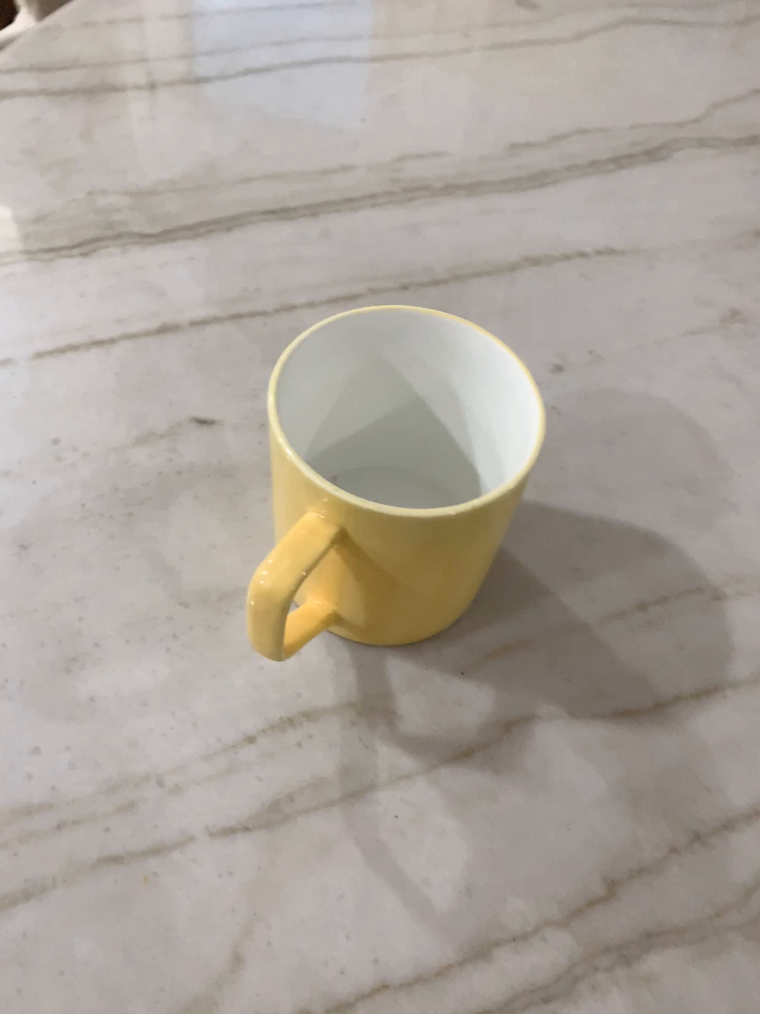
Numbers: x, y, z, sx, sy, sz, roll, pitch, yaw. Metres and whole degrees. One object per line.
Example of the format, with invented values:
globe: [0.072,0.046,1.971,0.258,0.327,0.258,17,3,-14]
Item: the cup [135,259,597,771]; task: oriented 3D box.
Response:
cup: [-0.001,0.000,0.234,0.074,0.074,0.110,27,57,13]
